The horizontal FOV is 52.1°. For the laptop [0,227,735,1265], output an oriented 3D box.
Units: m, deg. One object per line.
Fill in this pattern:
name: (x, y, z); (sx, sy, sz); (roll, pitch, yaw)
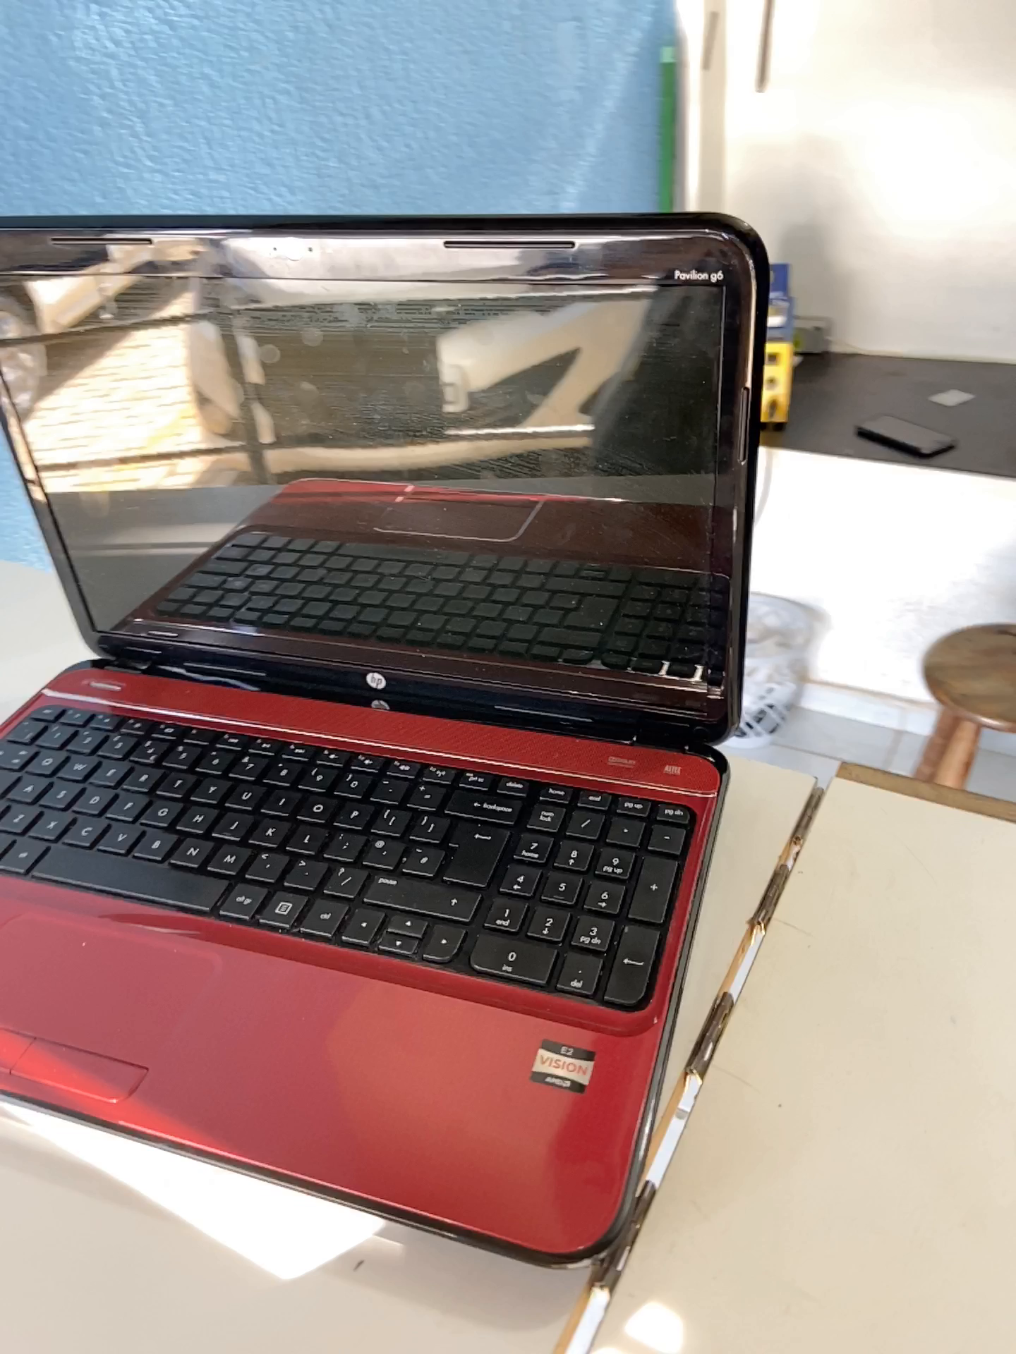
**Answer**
laptop: (-0.118, -0.014, 0.376); (0.356, 0.220, 0.228); (7, 35, 19)
